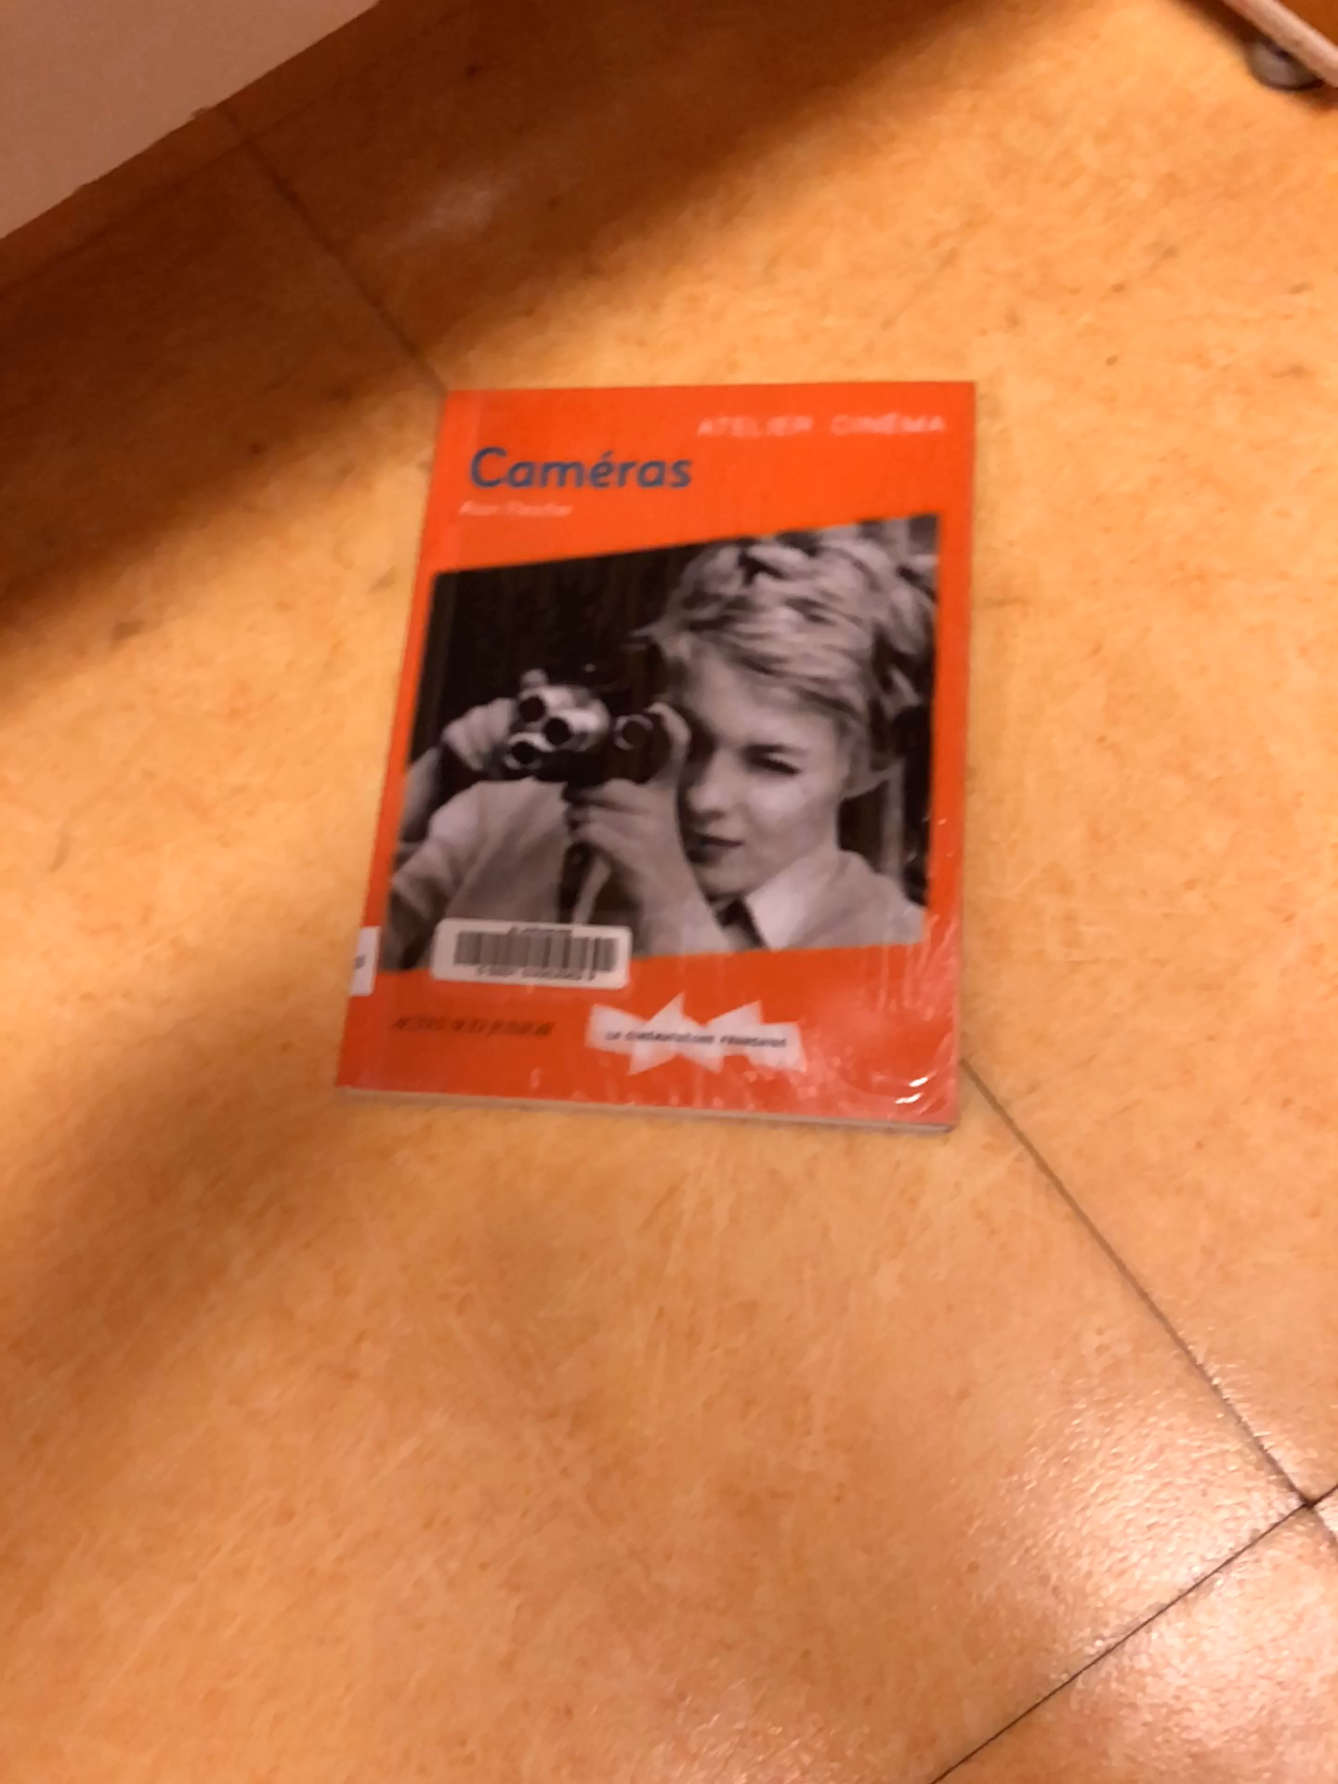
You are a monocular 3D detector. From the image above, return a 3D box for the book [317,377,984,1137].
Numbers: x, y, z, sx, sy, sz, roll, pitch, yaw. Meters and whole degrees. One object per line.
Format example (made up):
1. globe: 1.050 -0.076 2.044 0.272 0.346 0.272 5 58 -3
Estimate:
1. book: 0.001 -0.044 0.386 0.155 0.011 0.206 2 70 10
